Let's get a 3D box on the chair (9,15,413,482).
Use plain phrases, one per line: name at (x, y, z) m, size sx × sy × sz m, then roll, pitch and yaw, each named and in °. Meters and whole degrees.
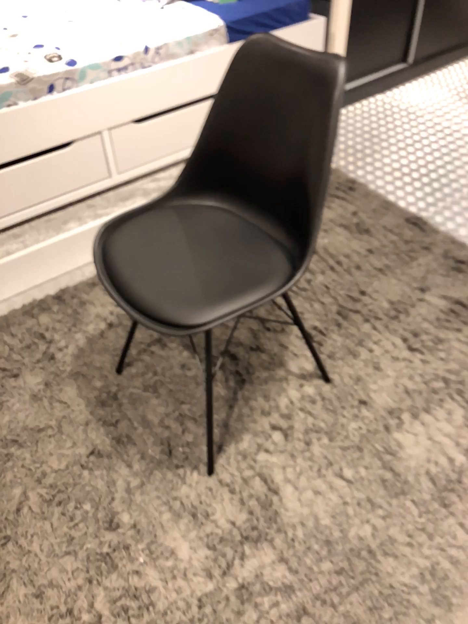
chair at (-0.045, -0.145, 1.221) m, size 0.532 × 0.804 × 0.522 m, roll -29°, pitch 50°, yaw -25°
